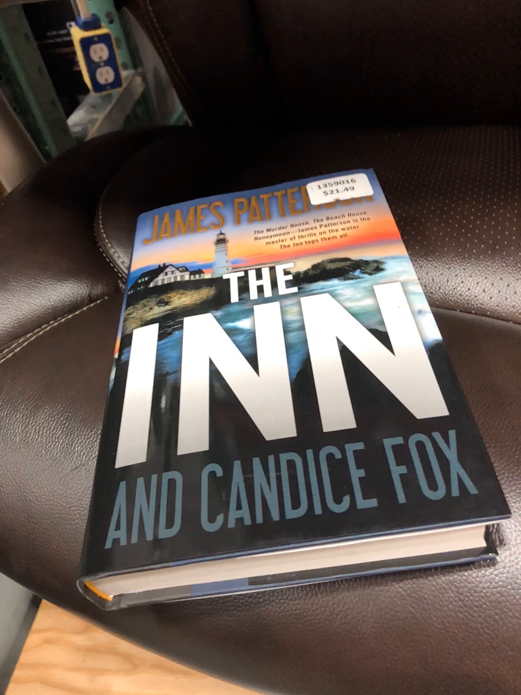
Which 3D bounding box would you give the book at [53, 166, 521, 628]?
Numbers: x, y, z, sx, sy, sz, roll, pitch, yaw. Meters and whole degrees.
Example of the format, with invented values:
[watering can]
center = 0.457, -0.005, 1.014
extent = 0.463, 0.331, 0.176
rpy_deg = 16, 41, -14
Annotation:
[book]
center = 0.003, 0.000, 0.308
extent = 0.170, 0.040, 0.251
rpy_deg = -10, 45, 5
